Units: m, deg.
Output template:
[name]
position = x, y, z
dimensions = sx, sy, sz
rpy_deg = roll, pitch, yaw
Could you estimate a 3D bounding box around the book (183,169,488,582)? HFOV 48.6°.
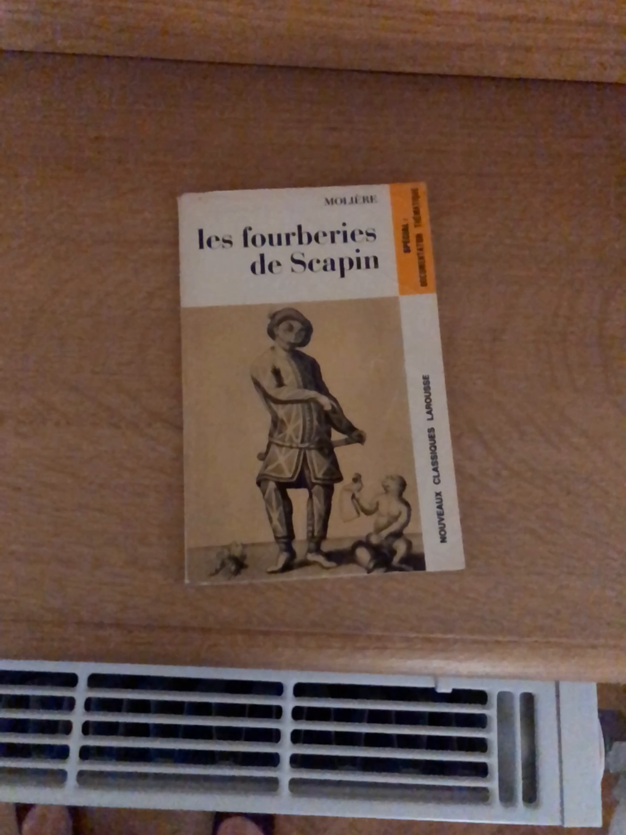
[book]
position = 0.006, -0.022, 0.298
dimensions = 0.117, 0.015, 0.174
rpy_deg = -3, 78, -2
